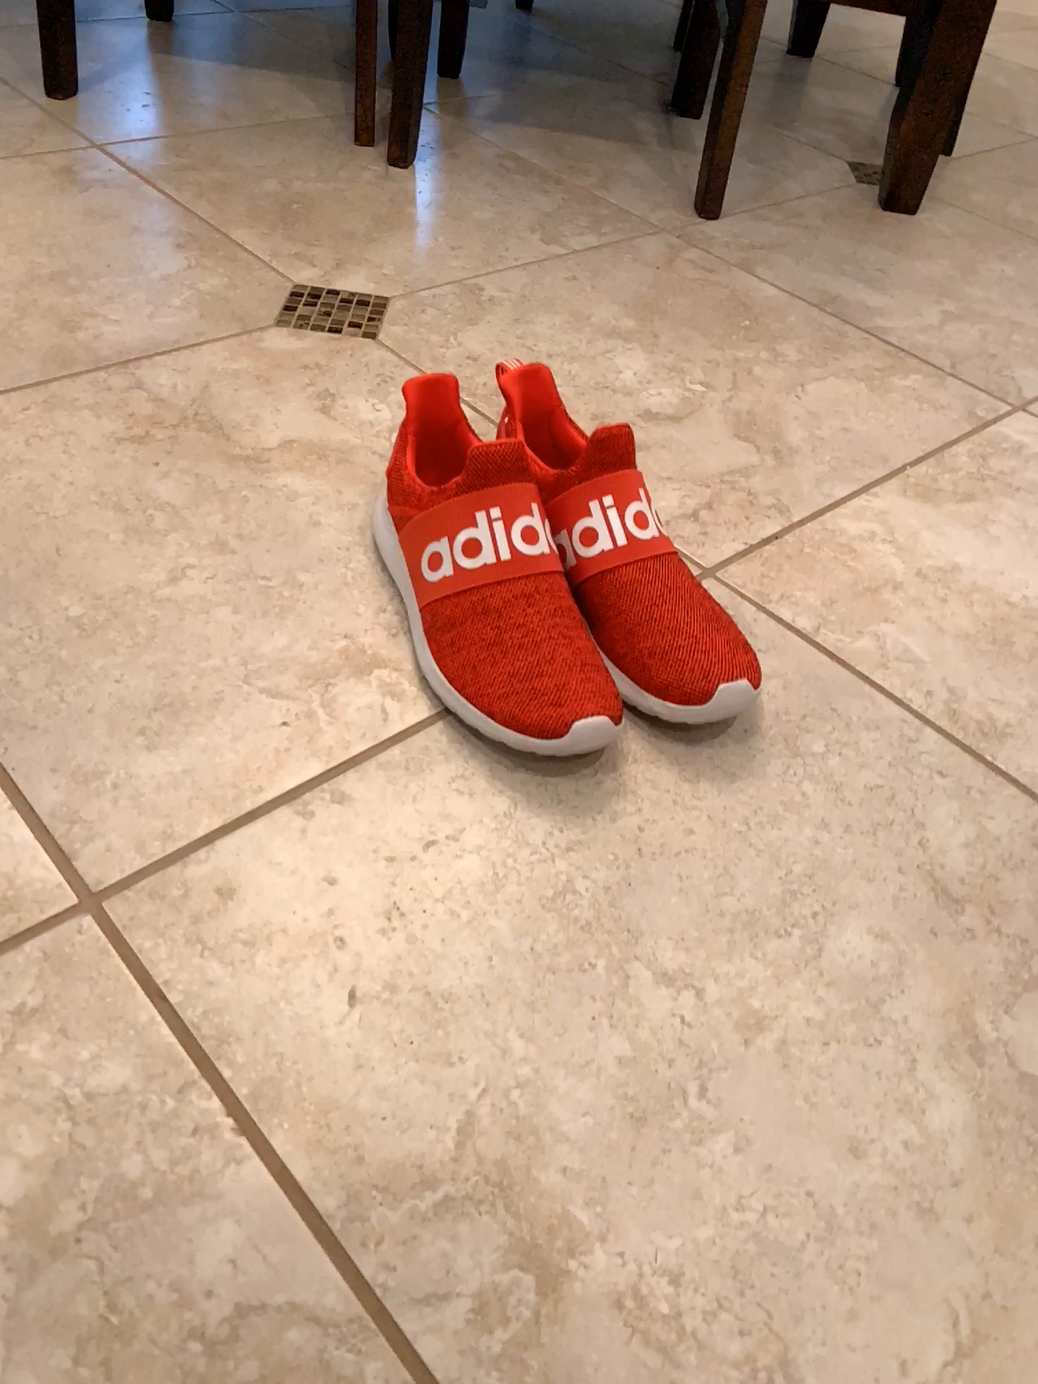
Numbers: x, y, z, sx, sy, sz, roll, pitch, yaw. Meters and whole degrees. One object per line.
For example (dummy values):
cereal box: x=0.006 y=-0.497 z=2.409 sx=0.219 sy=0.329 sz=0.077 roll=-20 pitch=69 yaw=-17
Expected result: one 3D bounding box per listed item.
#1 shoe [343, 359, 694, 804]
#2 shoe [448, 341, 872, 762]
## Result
shoe: x=-0.020 y=-0.089 z=0.696 sx=0.117 sy=0.118 sz=0.301 roll=-11 pitch=47 yaw=-20
shoe: x=0.076 y=-0.111 z=0.728 sx=0.117 sy=0.119 sz=0.301 roll=-17 pitch=49 yaw=-26
